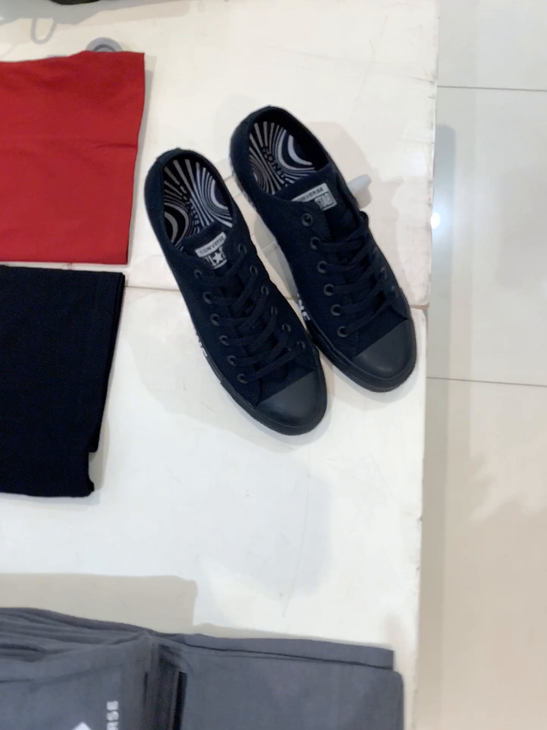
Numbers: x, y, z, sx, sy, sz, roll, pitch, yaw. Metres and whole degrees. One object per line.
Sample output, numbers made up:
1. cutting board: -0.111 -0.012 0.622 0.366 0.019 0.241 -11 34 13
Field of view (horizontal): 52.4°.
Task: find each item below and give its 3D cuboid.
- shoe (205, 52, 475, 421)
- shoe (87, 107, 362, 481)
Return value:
1. shoe: 0.054 -0.101 0.488 0.100 0.100 0.270 -30 101 -7
2. shoe: -0.044 -0.054 0.493 0.090 0.100 0.290 -31 100 -11
